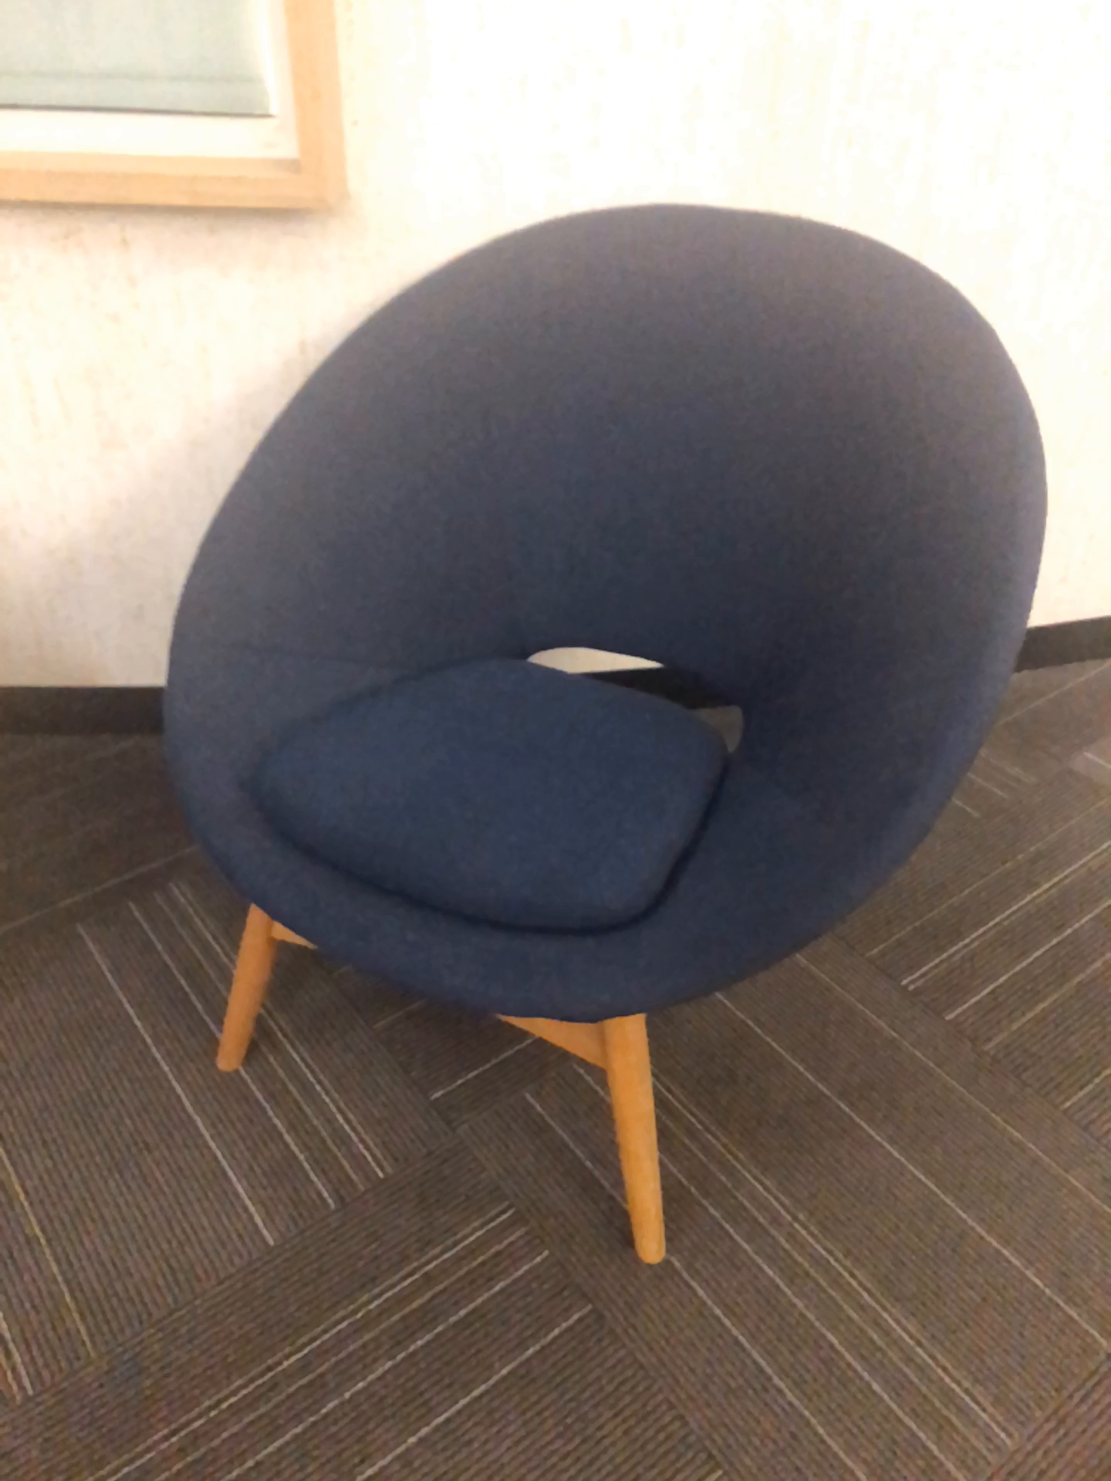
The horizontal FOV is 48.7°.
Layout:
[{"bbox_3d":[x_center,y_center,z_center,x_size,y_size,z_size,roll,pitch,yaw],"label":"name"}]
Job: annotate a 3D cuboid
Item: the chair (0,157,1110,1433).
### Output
[{"bbox_3d":[0.027,-0.100,1.511,0.891,0.992,1.008,20,34,25],"label":"chair"}]
